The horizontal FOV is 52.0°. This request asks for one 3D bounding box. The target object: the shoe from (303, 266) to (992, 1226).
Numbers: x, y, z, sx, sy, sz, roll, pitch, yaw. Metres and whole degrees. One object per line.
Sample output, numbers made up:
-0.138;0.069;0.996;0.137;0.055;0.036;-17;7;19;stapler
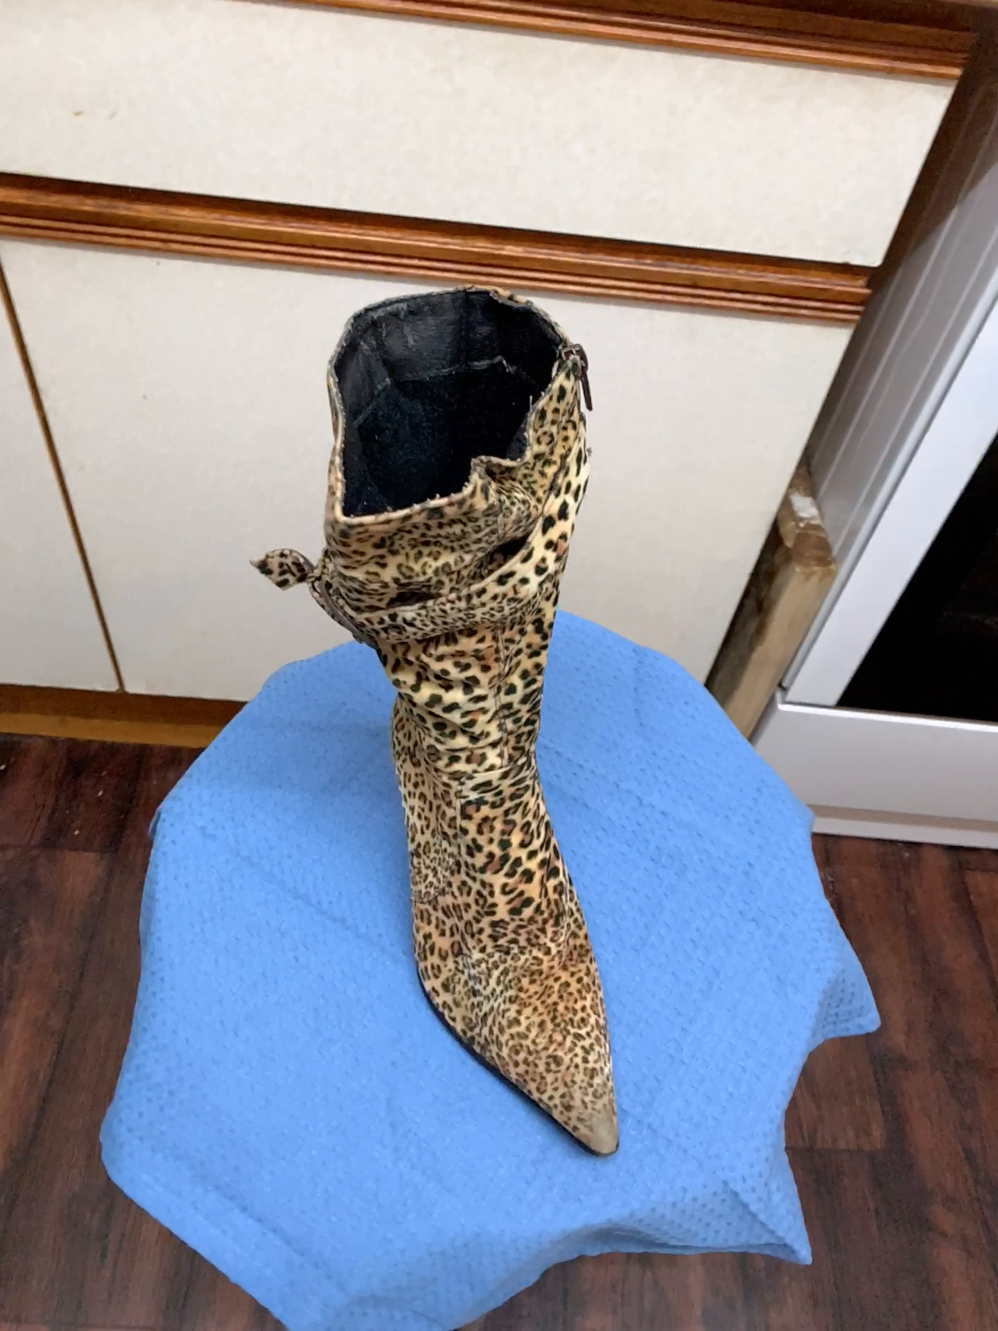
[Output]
0.011;0.057;0.458;0.100;0.347;0.262;-17;55;-21;shoe
